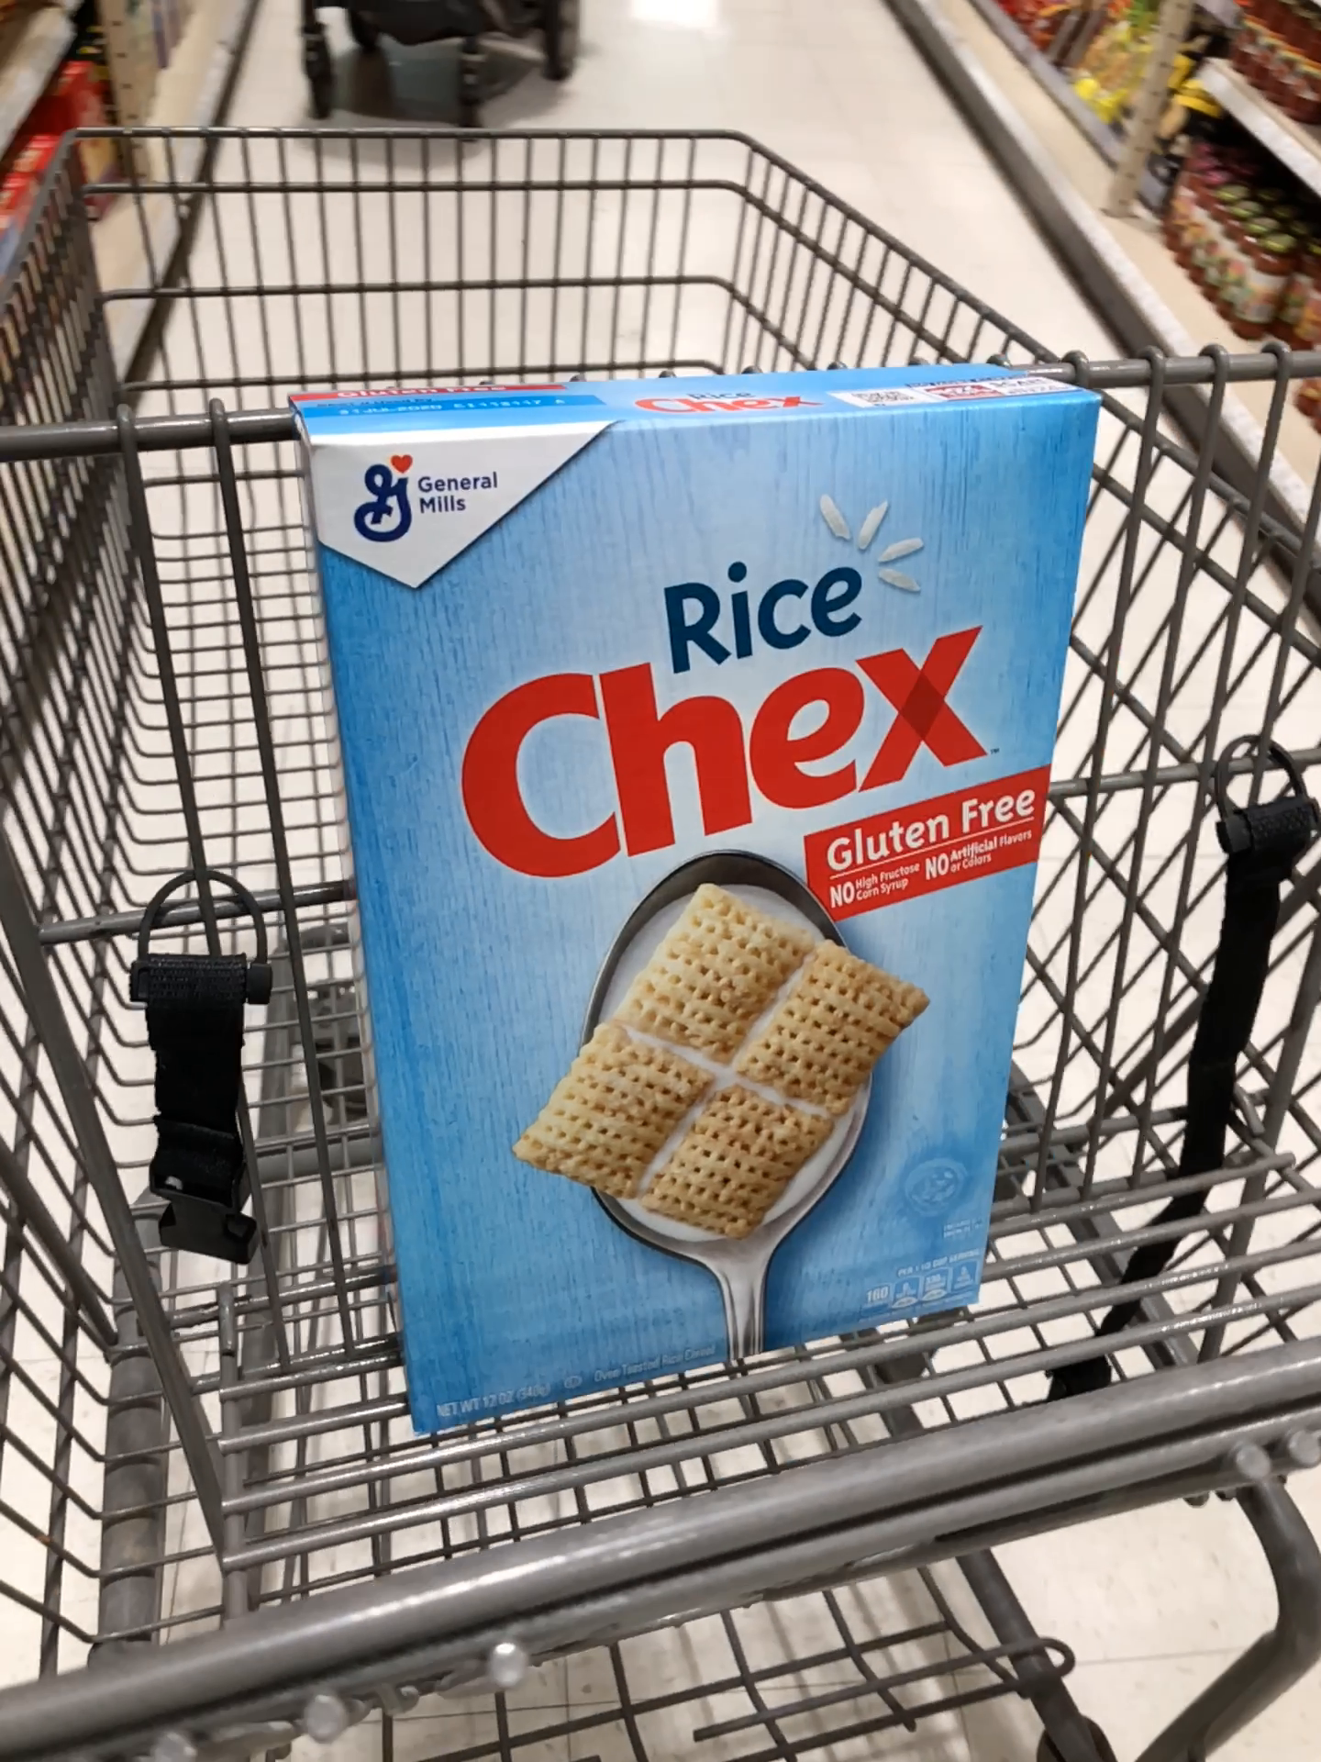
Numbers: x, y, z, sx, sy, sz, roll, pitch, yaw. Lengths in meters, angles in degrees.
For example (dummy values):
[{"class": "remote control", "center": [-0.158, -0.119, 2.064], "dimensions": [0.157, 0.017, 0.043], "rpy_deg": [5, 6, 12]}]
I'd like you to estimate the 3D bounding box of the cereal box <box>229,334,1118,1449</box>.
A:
[{"class": "cereal box", "center": [0.004, 0.008, 0.409], "dimensions": [0.200, 0.290, 0.060], "rpy_deg": [-9, 28, -16]}]
